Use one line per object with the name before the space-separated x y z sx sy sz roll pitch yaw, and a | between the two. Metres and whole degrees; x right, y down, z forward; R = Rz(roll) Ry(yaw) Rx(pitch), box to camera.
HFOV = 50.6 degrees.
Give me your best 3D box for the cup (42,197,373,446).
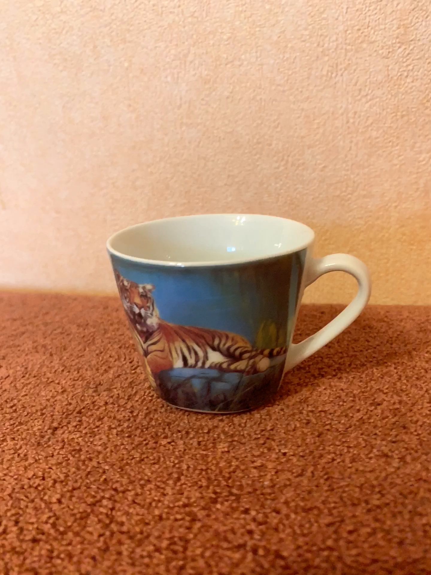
cup | 0.006 0.003 0.148 0.083 0.048 0.072 1 20 20
